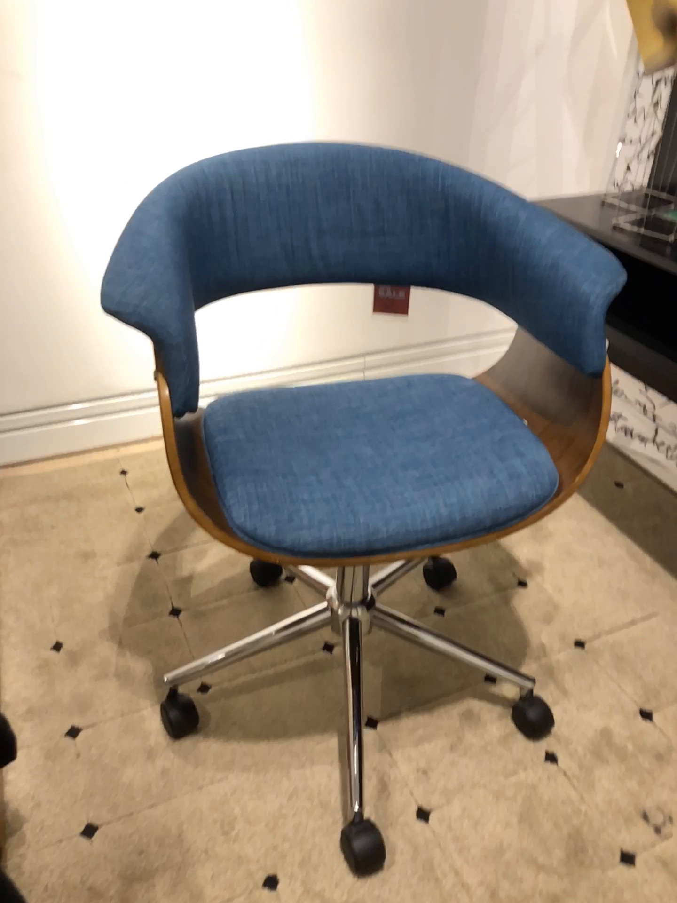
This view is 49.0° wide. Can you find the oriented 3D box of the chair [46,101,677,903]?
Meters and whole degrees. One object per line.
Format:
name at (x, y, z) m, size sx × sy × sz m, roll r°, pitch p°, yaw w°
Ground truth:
chair at (0.011, 0.008, 1.006) m, size 0.611 × 0.774 × 0.674 m, roll -10°, pitch 35°, yaw -18°
